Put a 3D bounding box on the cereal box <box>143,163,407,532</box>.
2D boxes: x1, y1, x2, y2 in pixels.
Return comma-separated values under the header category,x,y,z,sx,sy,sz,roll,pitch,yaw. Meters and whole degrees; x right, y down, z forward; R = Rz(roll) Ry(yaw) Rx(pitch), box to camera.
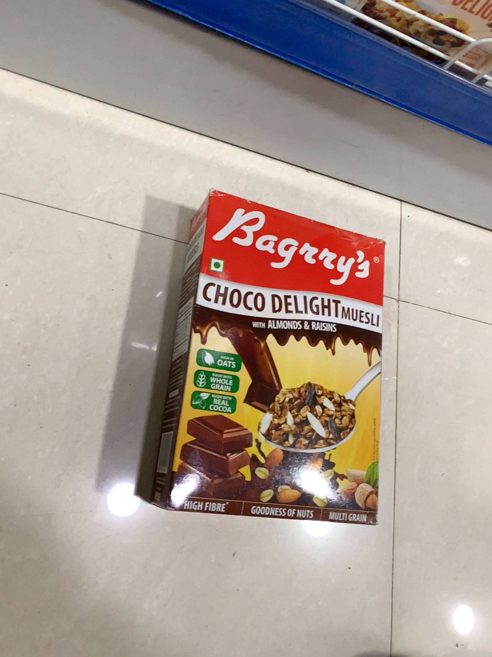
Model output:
category,x,y,z,sx,sy,sz,roll,pitch,yaw
cereal box,0.036,0.023,0.455,0.200,0.080,0.280,12,72,-20
